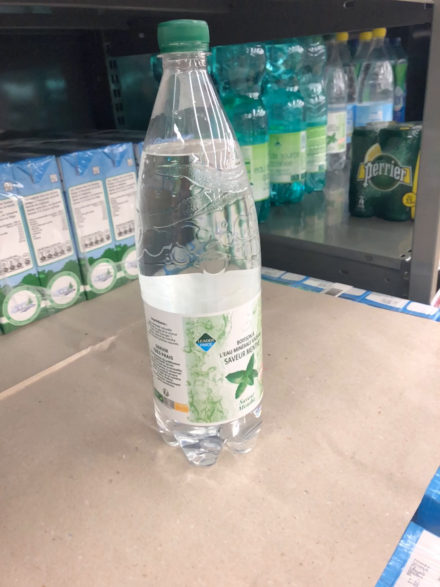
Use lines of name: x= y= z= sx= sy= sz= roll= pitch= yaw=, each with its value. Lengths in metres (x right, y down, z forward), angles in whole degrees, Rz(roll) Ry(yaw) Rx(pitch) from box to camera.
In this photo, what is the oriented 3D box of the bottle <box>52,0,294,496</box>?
bottle: x=-0.017 y=-0.024 z=0.337 sx=0.090 sy=0.298 sz=0.100 roll=19 pitch=33 yaw=42
